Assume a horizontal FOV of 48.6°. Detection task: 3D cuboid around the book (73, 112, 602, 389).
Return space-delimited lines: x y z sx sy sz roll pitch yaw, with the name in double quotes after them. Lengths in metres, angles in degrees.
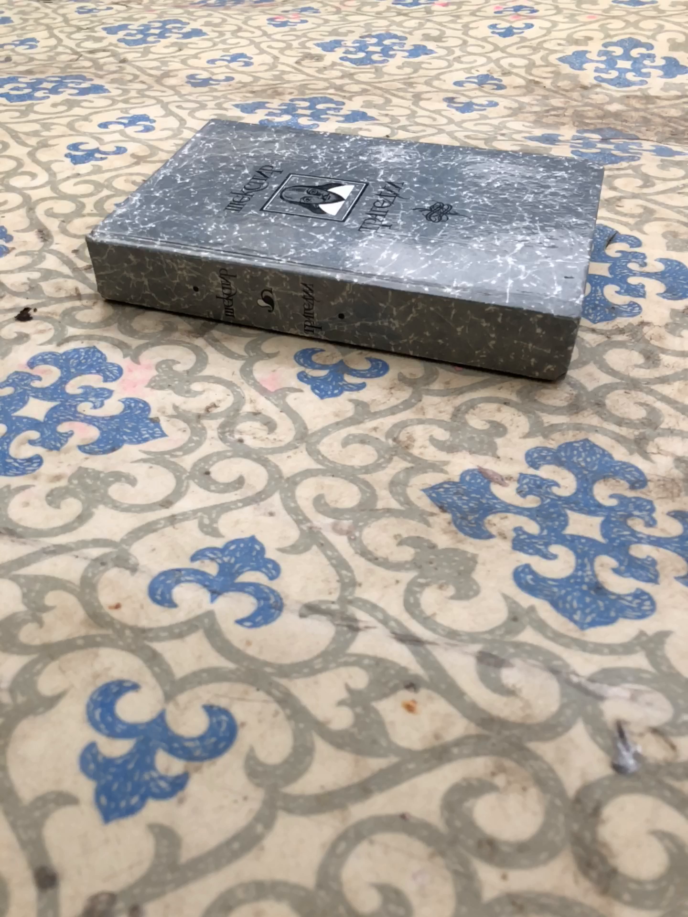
0.006 -0.106 0.353 0.207 0.033 0.135 12 47 12 "book"
